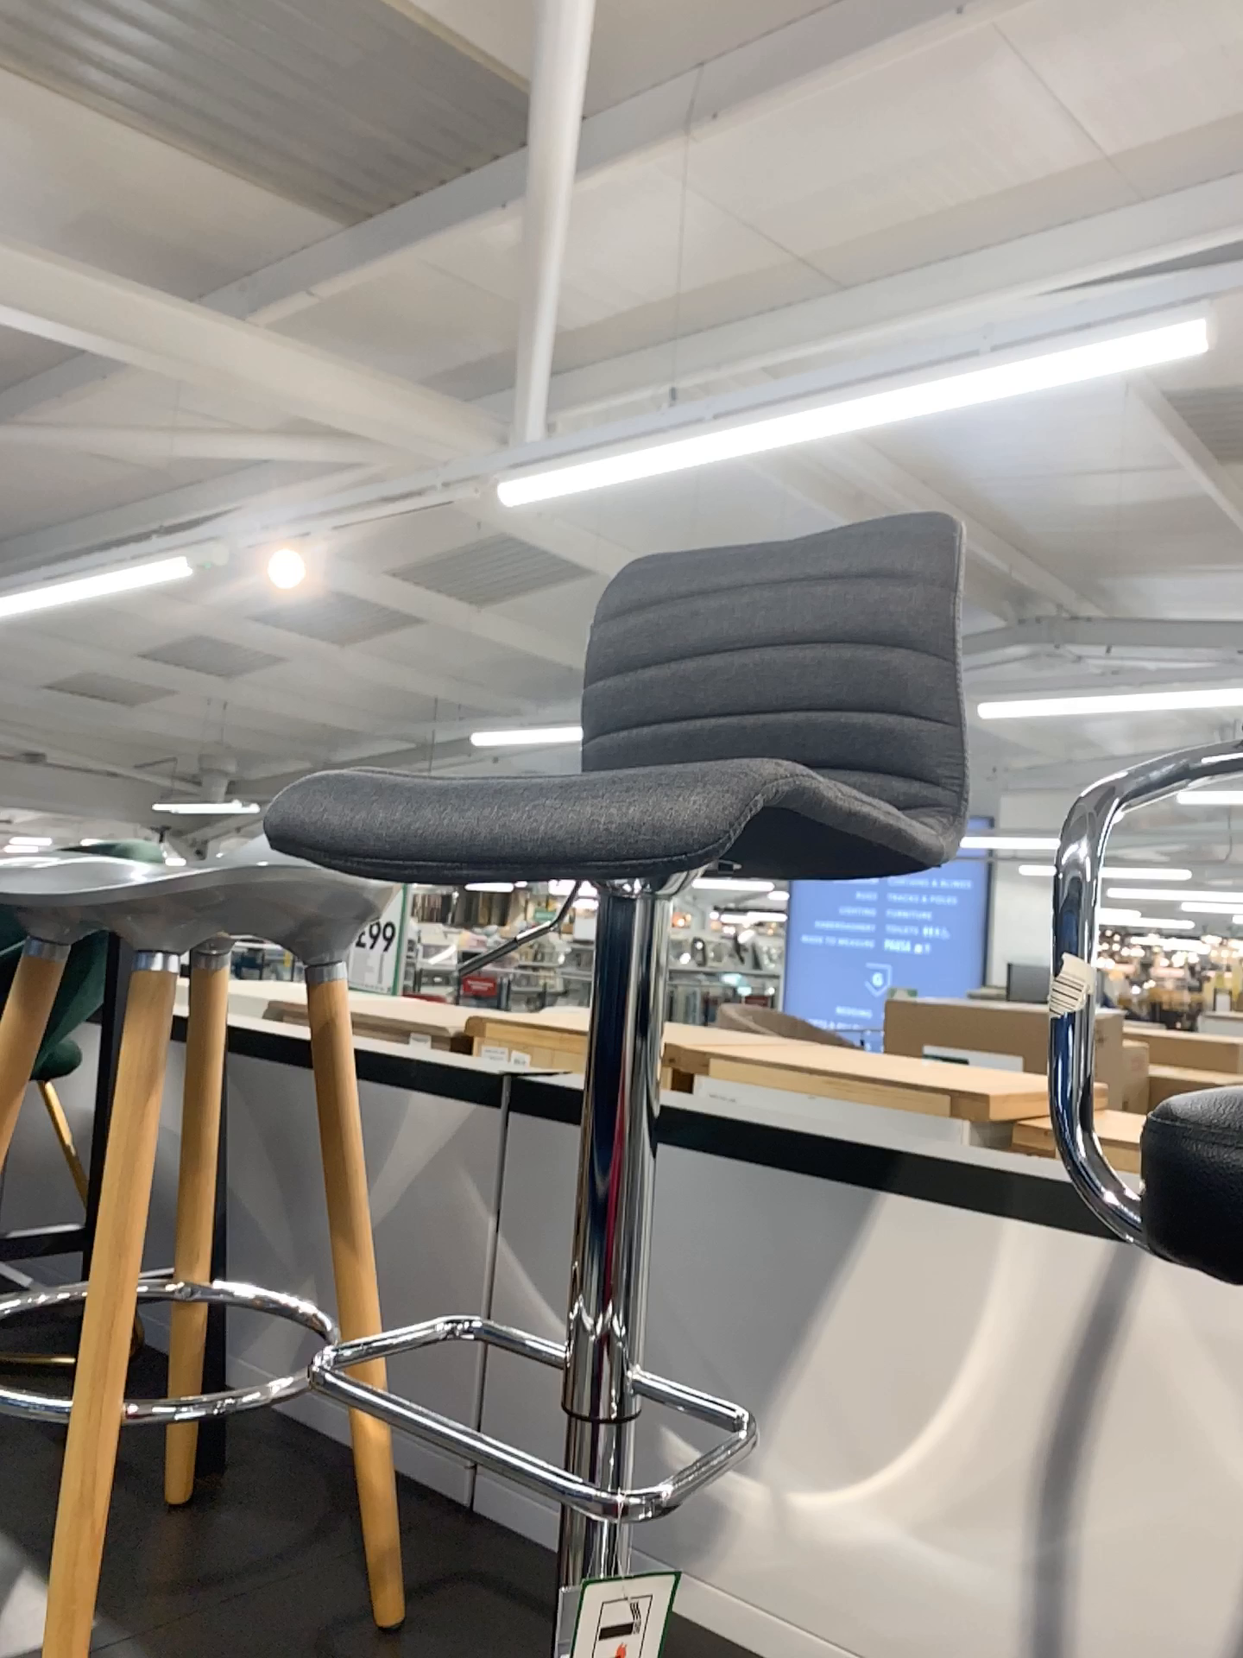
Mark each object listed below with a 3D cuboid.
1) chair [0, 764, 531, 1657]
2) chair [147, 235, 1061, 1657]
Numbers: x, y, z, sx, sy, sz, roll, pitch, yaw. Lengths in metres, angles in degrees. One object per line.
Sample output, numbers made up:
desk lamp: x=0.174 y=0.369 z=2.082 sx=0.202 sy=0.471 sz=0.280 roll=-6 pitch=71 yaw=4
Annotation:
chair: x=-0.431 y=0.347 z=1.214 sx=0.445 sy=0.742 sz=0.451 roll=-1 pitch=-8 yaw=36
chair: x=0.027 y=0.200 z=0.980 sx=0.445 sy=1.033 sz=0.451 roll=-1 pitch=-9 yaw=36
